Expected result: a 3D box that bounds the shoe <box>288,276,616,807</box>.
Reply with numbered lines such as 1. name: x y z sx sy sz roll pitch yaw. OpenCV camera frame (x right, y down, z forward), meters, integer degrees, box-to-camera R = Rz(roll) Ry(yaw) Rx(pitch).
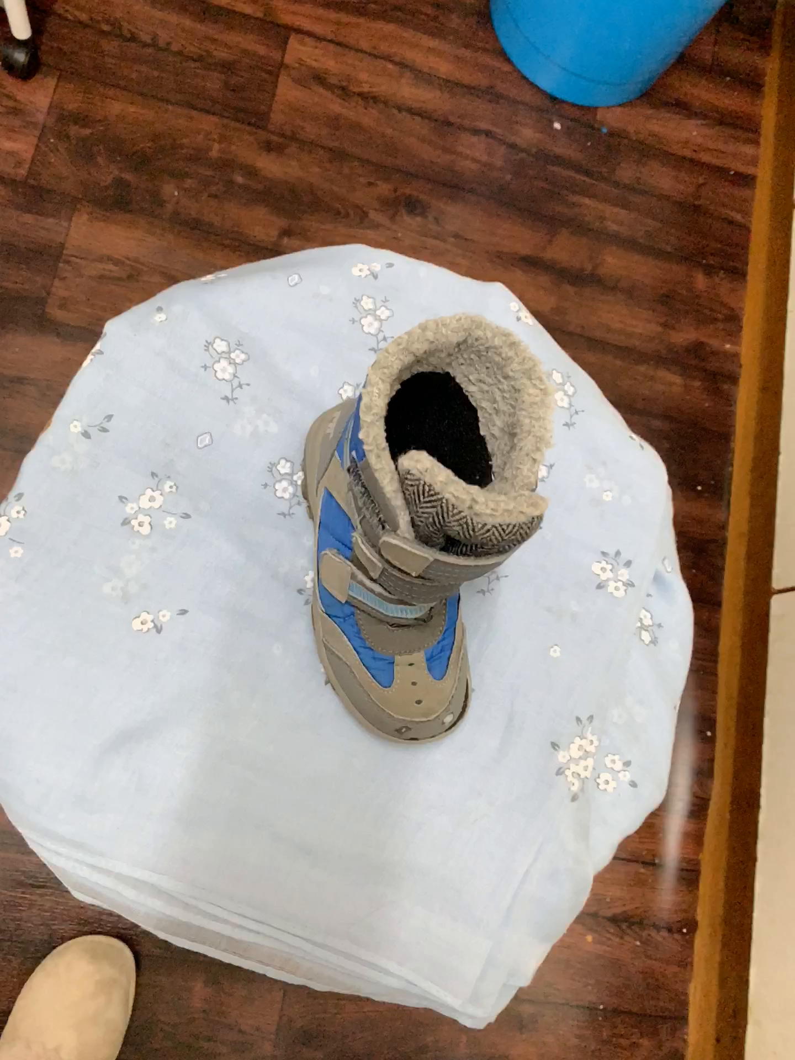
1. shoe: 0.009 0.011 0.388 0.090 0.160 0.200 -4 79 -13
